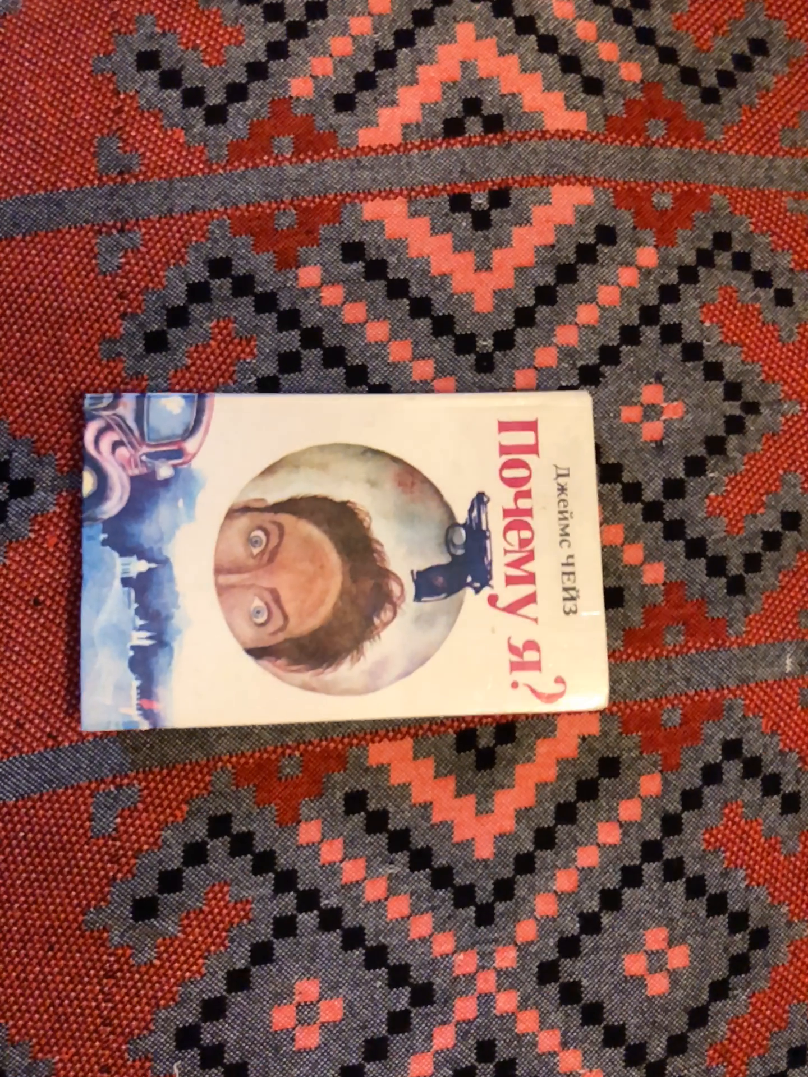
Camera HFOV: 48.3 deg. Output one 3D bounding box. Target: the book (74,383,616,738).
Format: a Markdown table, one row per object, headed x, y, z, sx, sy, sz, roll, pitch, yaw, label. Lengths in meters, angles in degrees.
| x | y | z | sx | sy | sz | roll | pitch | yaw | label |
| --- | --- | --- | --- | --- | --- | --- | --- | --- | --- |
| -0.022 | 0.007 | 0.361 | 0.204 | 0.029 | 0.133 | -1 | 83 | -5 | book |
